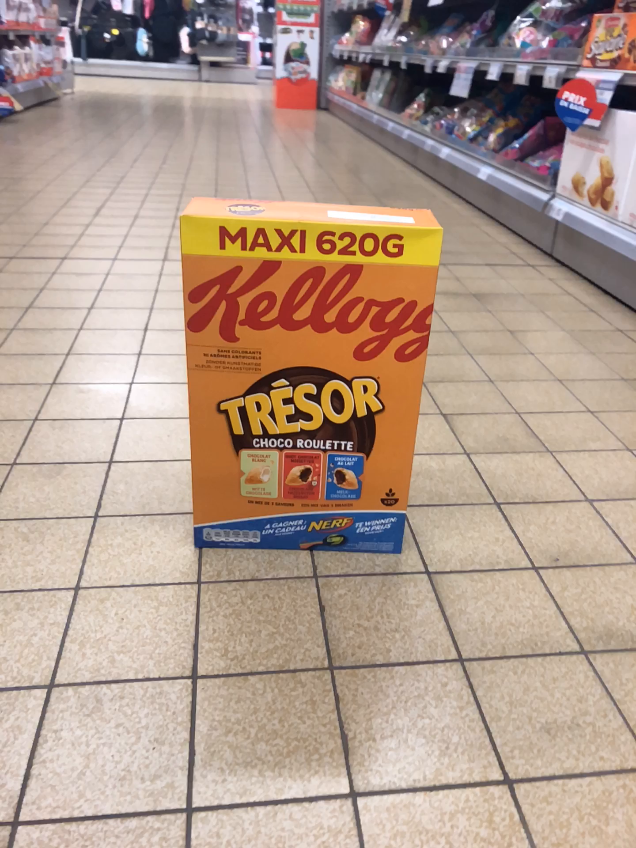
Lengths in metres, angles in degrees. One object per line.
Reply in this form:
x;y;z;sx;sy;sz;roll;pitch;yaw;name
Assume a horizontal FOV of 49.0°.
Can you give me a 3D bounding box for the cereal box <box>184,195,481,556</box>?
0.004;-0.032;0.590;0.210;0.288;0.070;3;27;-1;cereal box
